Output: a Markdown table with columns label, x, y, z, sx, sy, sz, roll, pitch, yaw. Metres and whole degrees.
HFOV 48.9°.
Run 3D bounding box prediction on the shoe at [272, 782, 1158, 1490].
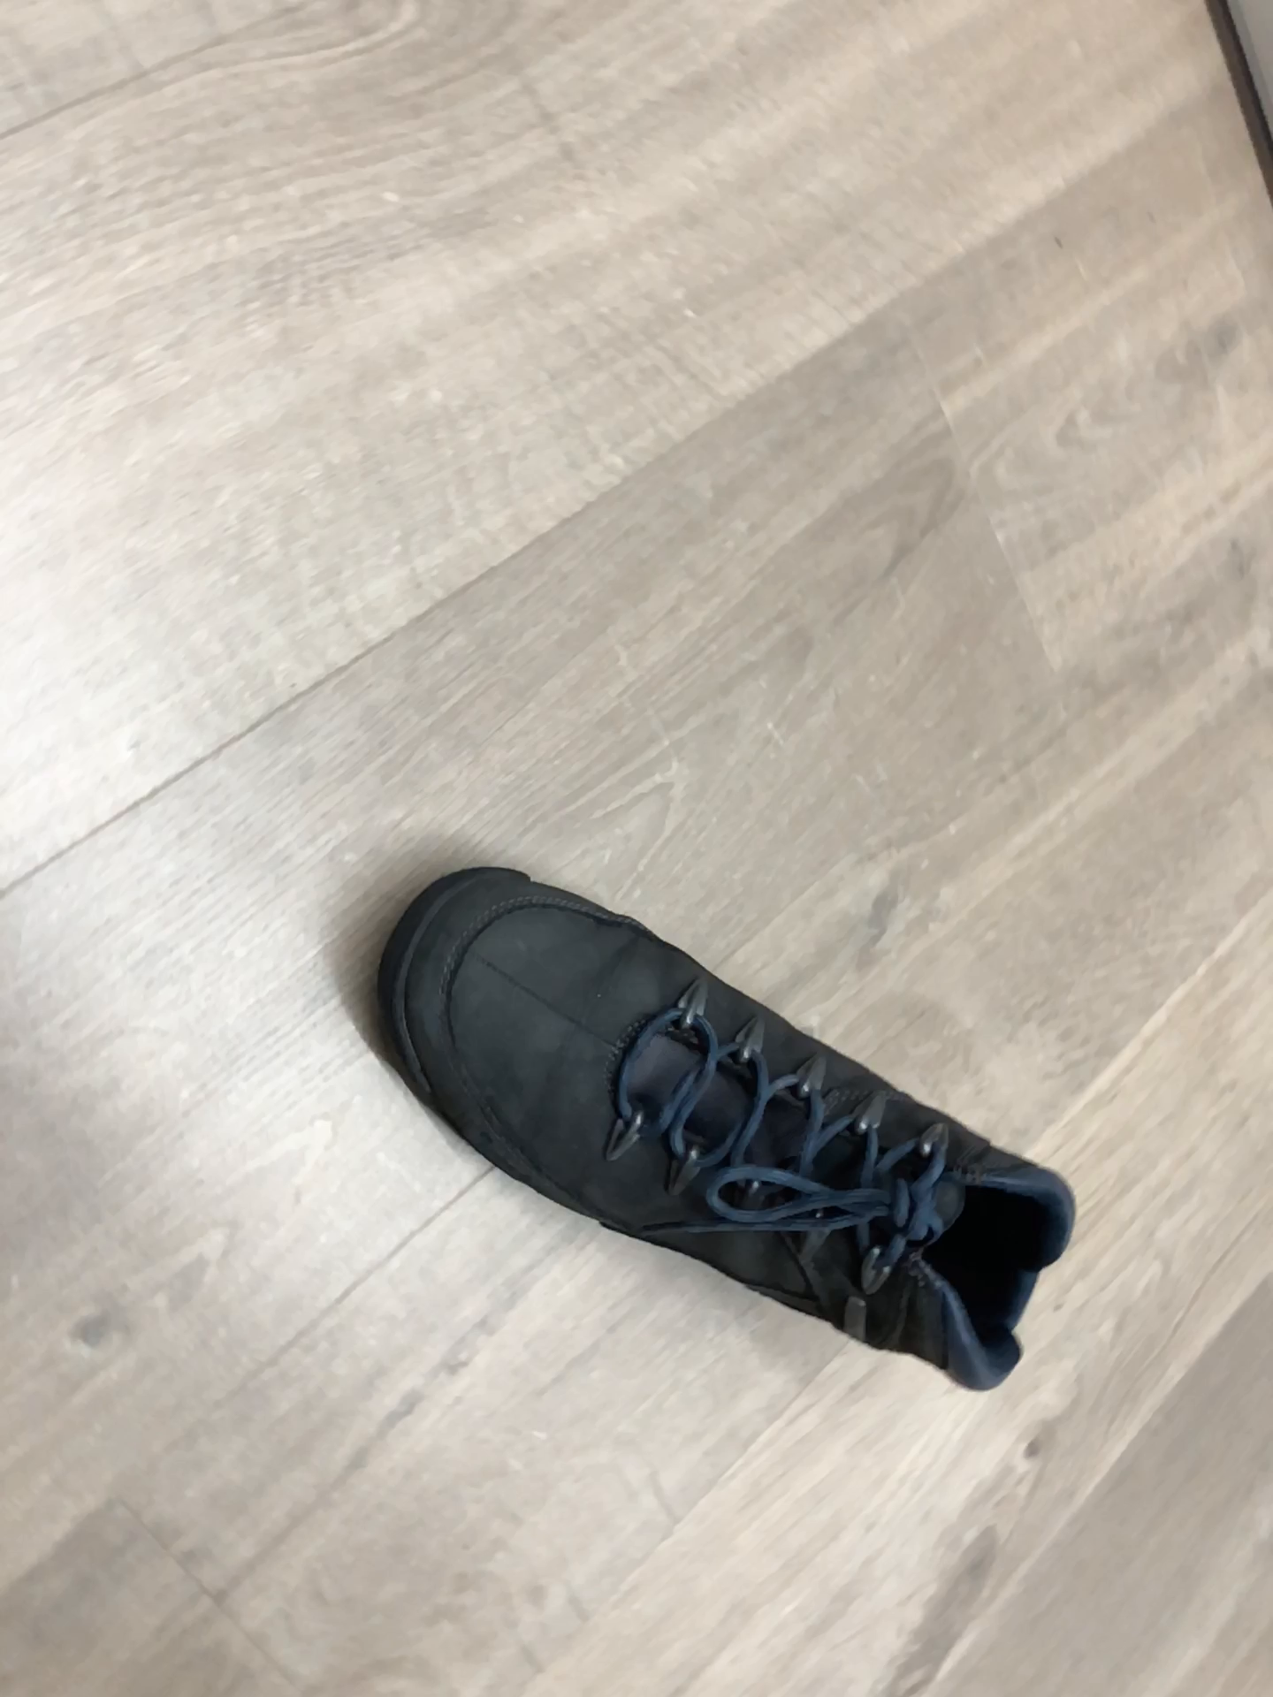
| label | x | y | z | sx | sy | sz | roll | pitch | yaw |
| --- | --- | --- | --- | --- | --- | --- | --- | --- | --- |
| shoe | 0.036 | 0.105 | 0.509 | 0.291 | 0.130 | 0.110 | 37 | 76 | -28 |
